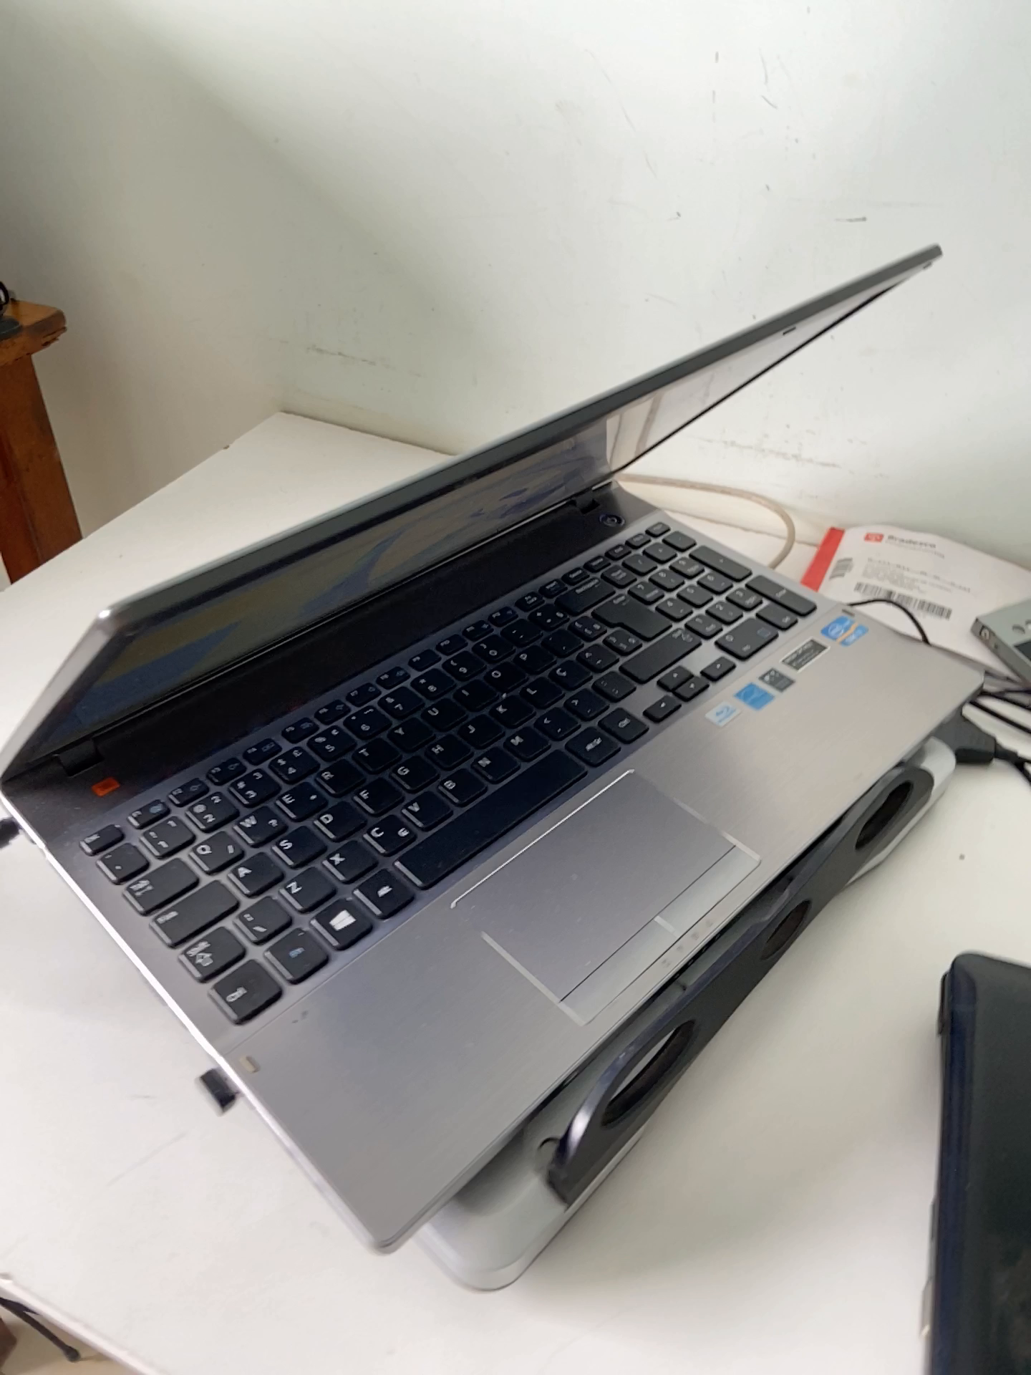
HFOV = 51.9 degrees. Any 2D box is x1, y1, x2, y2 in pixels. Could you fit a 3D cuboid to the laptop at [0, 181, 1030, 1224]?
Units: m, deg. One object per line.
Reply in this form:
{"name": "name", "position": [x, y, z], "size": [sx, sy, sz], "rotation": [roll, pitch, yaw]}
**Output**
{"name": "laptop", "position": [0.016, -0.047, 0.409], "size": [0.231, 0.164, 0.360], "rotation": [34, 49, 30]}
